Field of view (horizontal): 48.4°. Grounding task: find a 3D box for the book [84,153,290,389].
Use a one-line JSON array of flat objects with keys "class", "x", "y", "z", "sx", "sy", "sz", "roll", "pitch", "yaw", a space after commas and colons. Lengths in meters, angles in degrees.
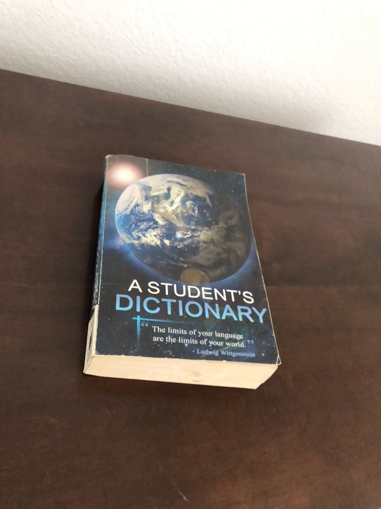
[{"class": "book", "x": -0.009, "y": 0.006, "z": 0.360, "sx": 0.141, "sy": 0.040, "sz": 0.202, "roll": 5, "pitch": 52, "yaw": -14}]
